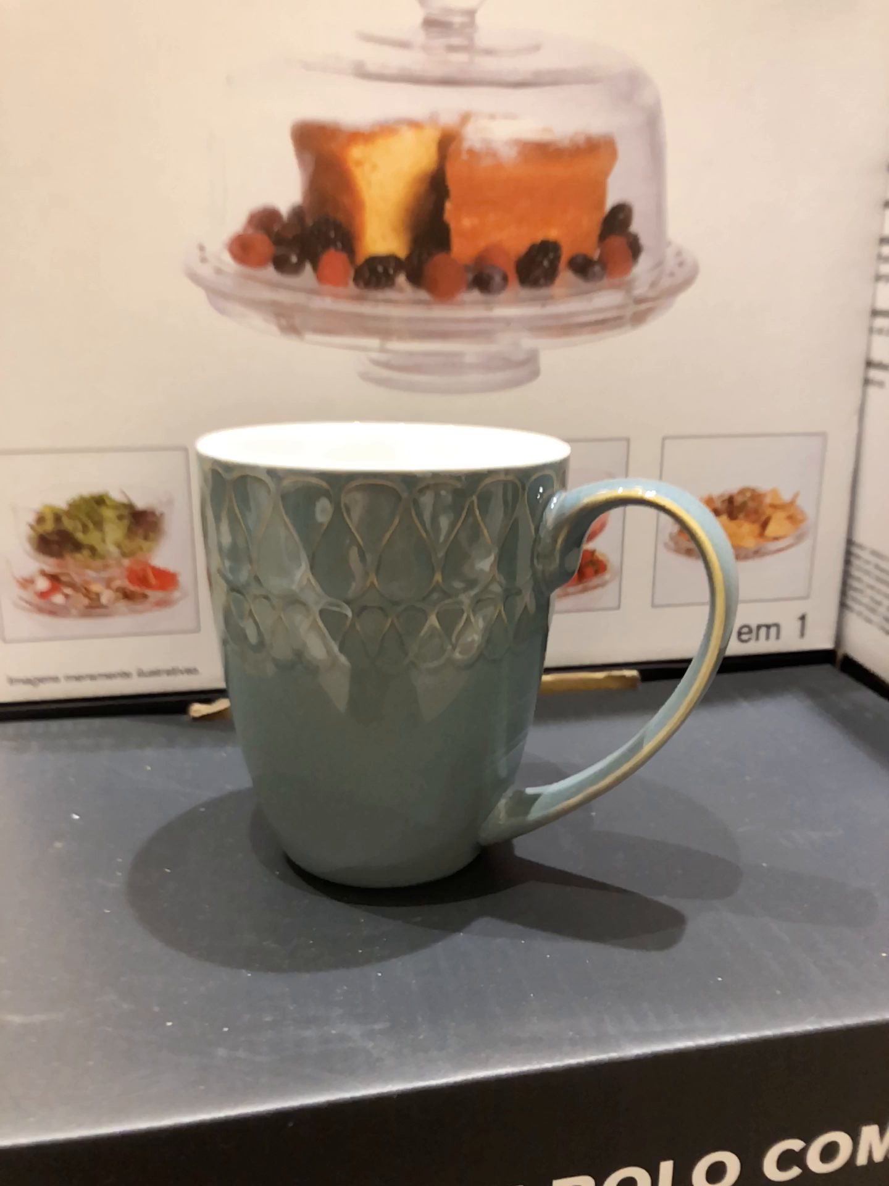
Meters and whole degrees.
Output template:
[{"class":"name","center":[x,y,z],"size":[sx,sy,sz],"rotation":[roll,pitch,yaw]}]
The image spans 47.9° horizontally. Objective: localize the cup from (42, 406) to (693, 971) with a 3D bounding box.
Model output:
[{"class":"cup","center":[-0.009,0.012,0.248],"size":[0.130,0.099,0.090],"rotation":[4,18,13]}]
